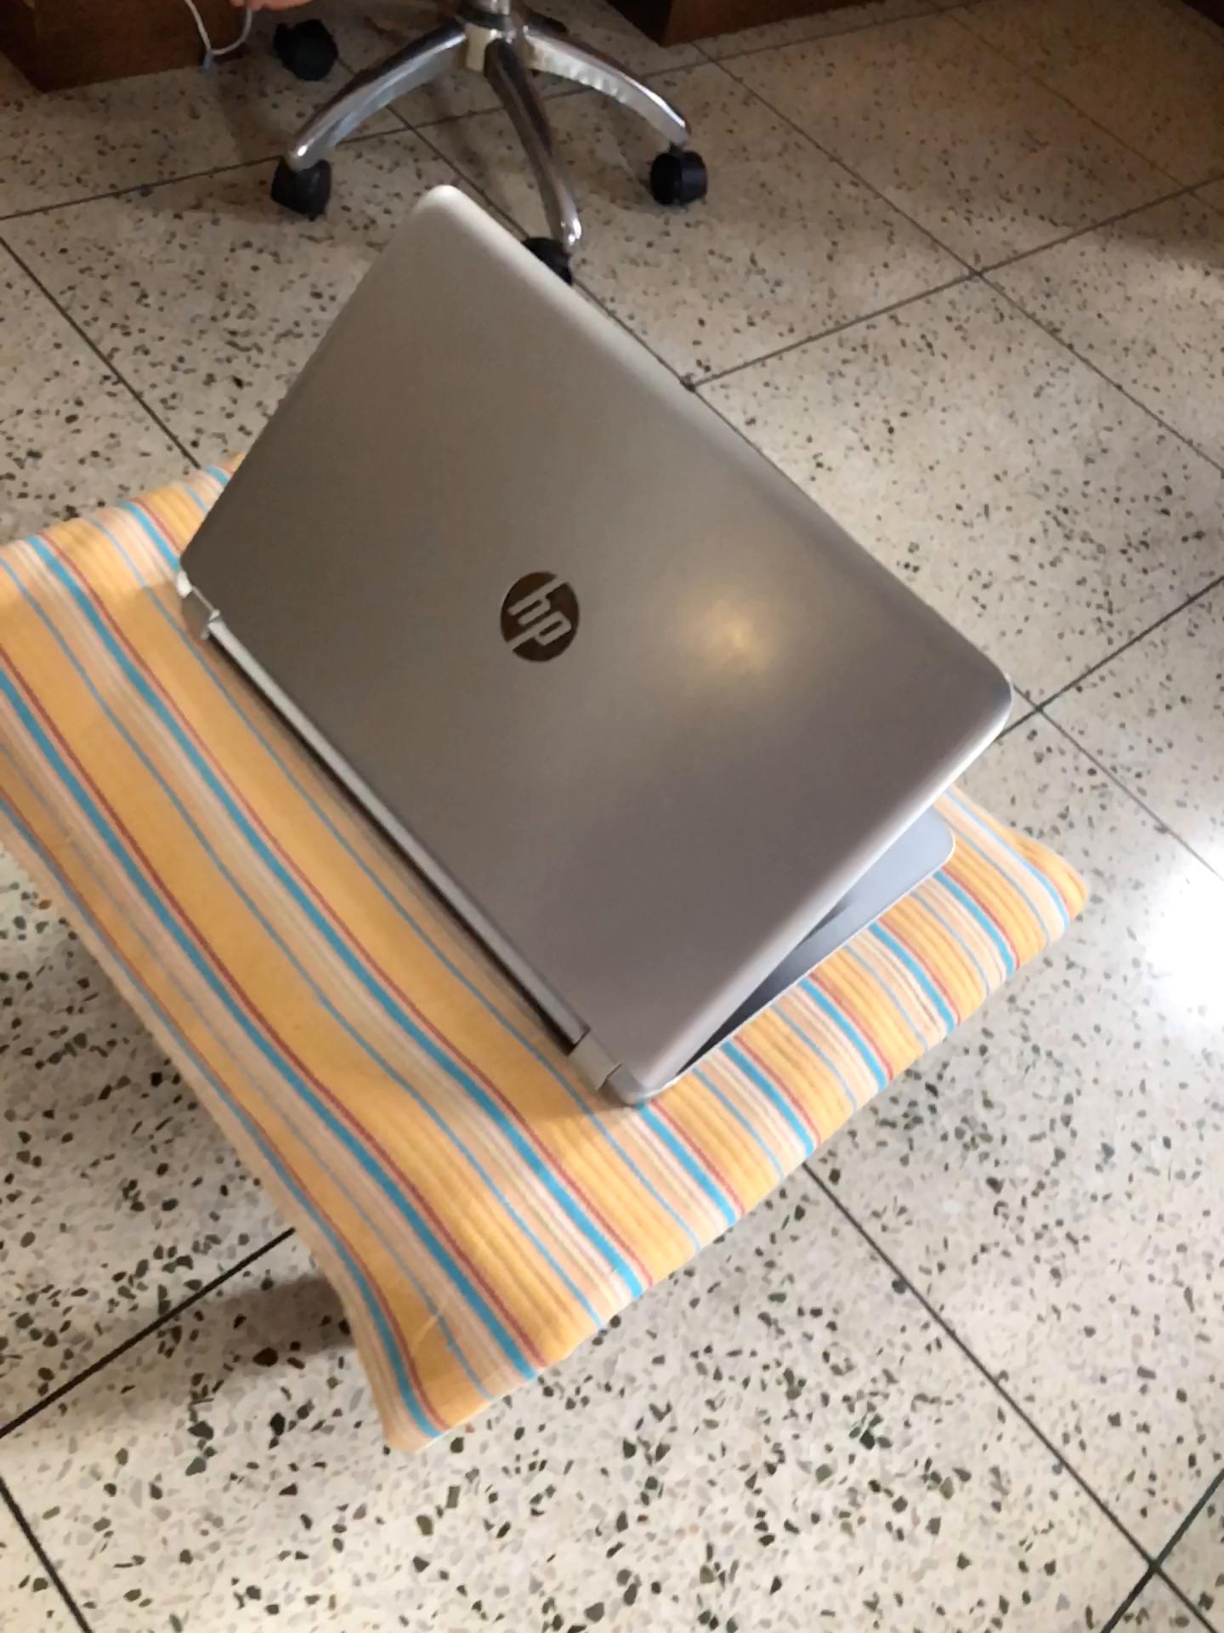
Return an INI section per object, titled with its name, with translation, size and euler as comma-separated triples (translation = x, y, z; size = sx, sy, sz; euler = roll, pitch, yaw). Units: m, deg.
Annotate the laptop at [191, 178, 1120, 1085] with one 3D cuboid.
[laptop]
translation = 0.000, -0.108, 0.678
size = 0.237, 0.184, 0.372
euler = -32, 69, -32
